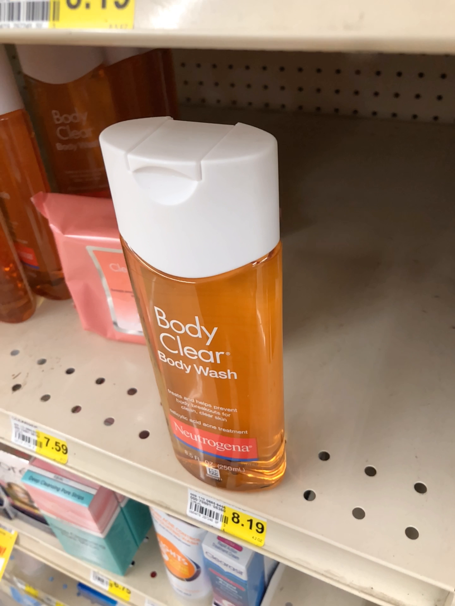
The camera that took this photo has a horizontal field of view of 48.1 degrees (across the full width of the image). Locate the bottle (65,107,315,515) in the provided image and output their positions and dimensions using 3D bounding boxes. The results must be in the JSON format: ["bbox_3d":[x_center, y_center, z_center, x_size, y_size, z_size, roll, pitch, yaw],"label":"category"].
[{"bbox_3d":[-0.002,0.017,0.229,0.070,0.190,0.045,13,45,22],"label":"bottle"}]
